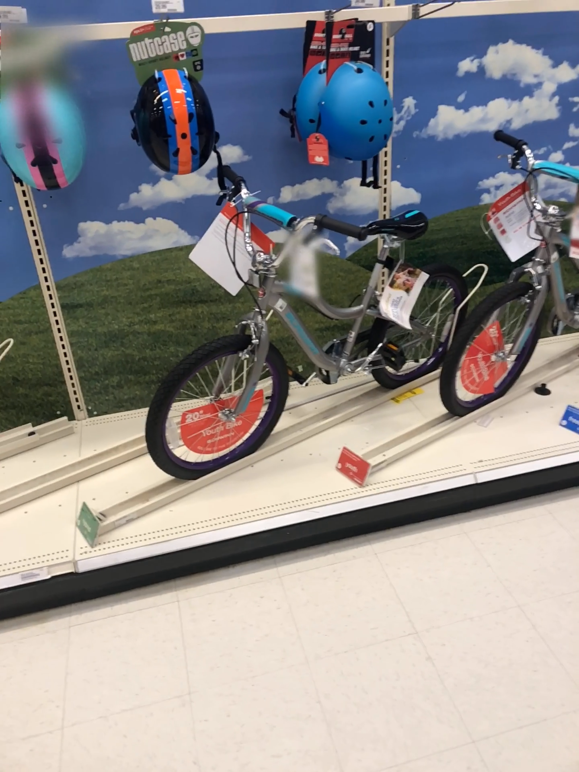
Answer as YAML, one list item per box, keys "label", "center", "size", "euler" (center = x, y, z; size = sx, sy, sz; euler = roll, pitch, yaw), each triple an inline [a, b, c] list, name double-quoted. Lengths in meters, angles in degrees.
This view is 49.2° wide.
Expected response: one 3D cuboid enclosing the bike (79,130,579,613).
- label: "bike"
  center: [0.171, -0.170, 1.987]
  size: [1.322, 0.878, 0.651]
  euler: [-25, 35, -28]
